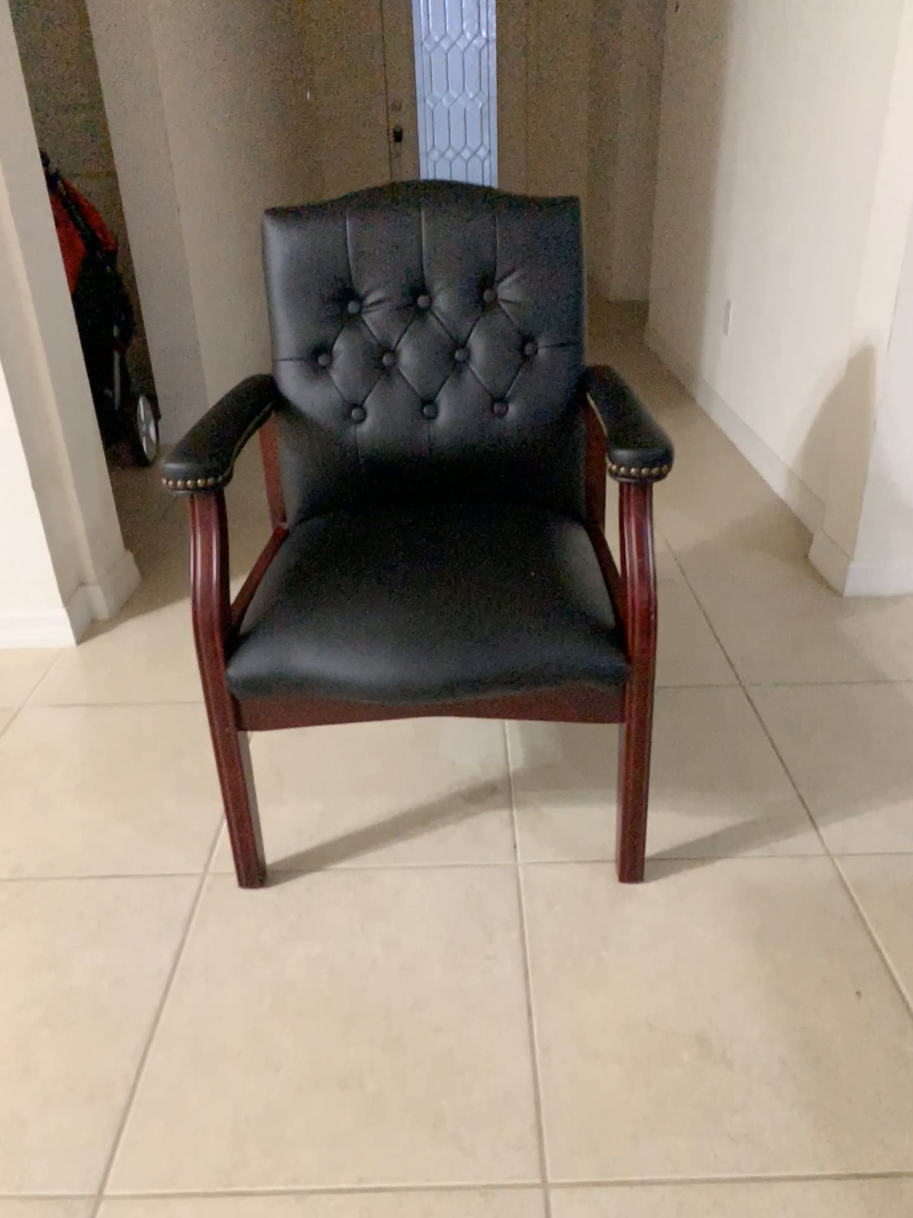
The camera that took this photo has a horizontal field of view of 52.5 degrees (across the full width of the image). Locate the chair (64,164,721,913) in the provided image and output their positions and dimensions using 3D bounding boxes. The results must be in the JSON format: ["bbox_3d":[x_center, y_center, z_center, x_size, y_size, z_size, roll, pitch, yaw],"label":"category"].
[{"bbox_3d":[-0.049,-0.141,1.383,0.631,0.908,0.661,-2,27,1],"label":"chair"}]
